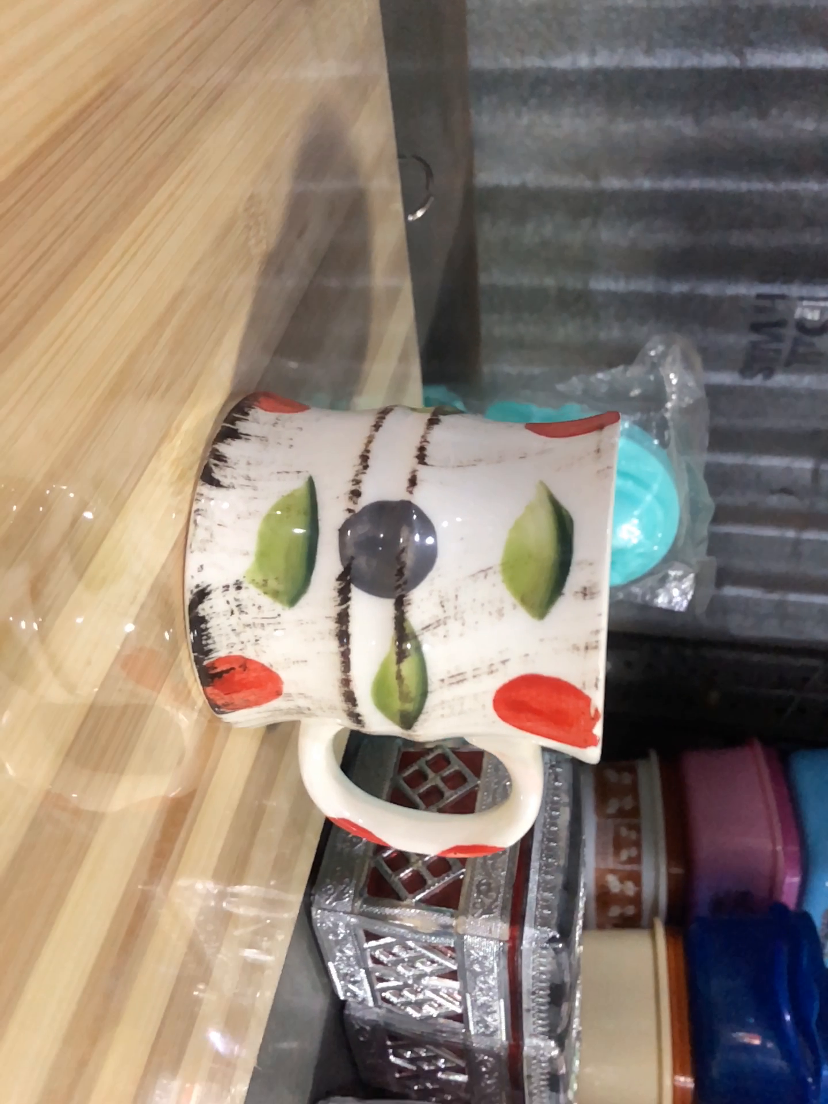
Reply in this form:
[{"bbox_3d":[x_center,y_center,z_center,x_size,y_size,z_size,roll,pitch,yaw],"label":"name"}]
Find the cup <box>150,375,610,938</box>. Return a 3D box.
[{"bbox_3d":[0.001,0.024,0.213,0.060,0.080,0.110,-72,162,-55],"label":"cup"}]
